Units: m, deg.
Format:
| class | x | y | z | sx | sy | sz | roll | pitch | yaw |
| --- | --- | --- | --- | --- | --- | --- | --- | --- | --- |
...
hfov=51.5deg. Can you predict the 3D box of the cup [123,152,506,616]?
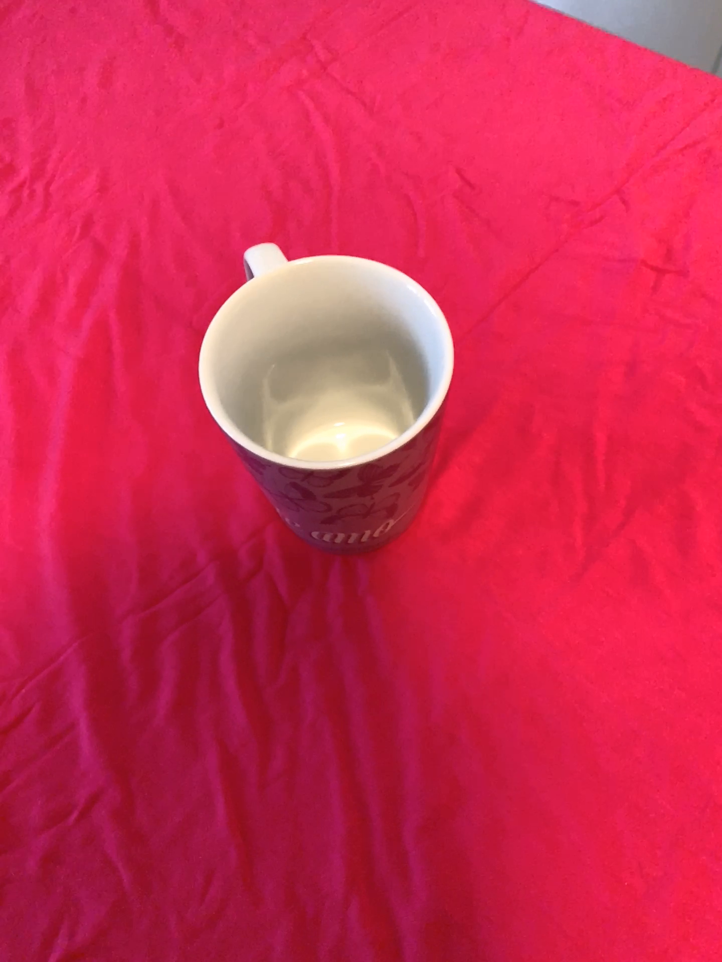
| class | x | y | z | sx | sy | sz | roll | pitch | yaw |
| --- | --- | --- | --- | --- | --- | --- | --- | --- | --- |
| cup | -0.016 | -0.030 | 0.271 | 0.080 | 0.100 | 0.110 | -23 | 65 | -8 |
